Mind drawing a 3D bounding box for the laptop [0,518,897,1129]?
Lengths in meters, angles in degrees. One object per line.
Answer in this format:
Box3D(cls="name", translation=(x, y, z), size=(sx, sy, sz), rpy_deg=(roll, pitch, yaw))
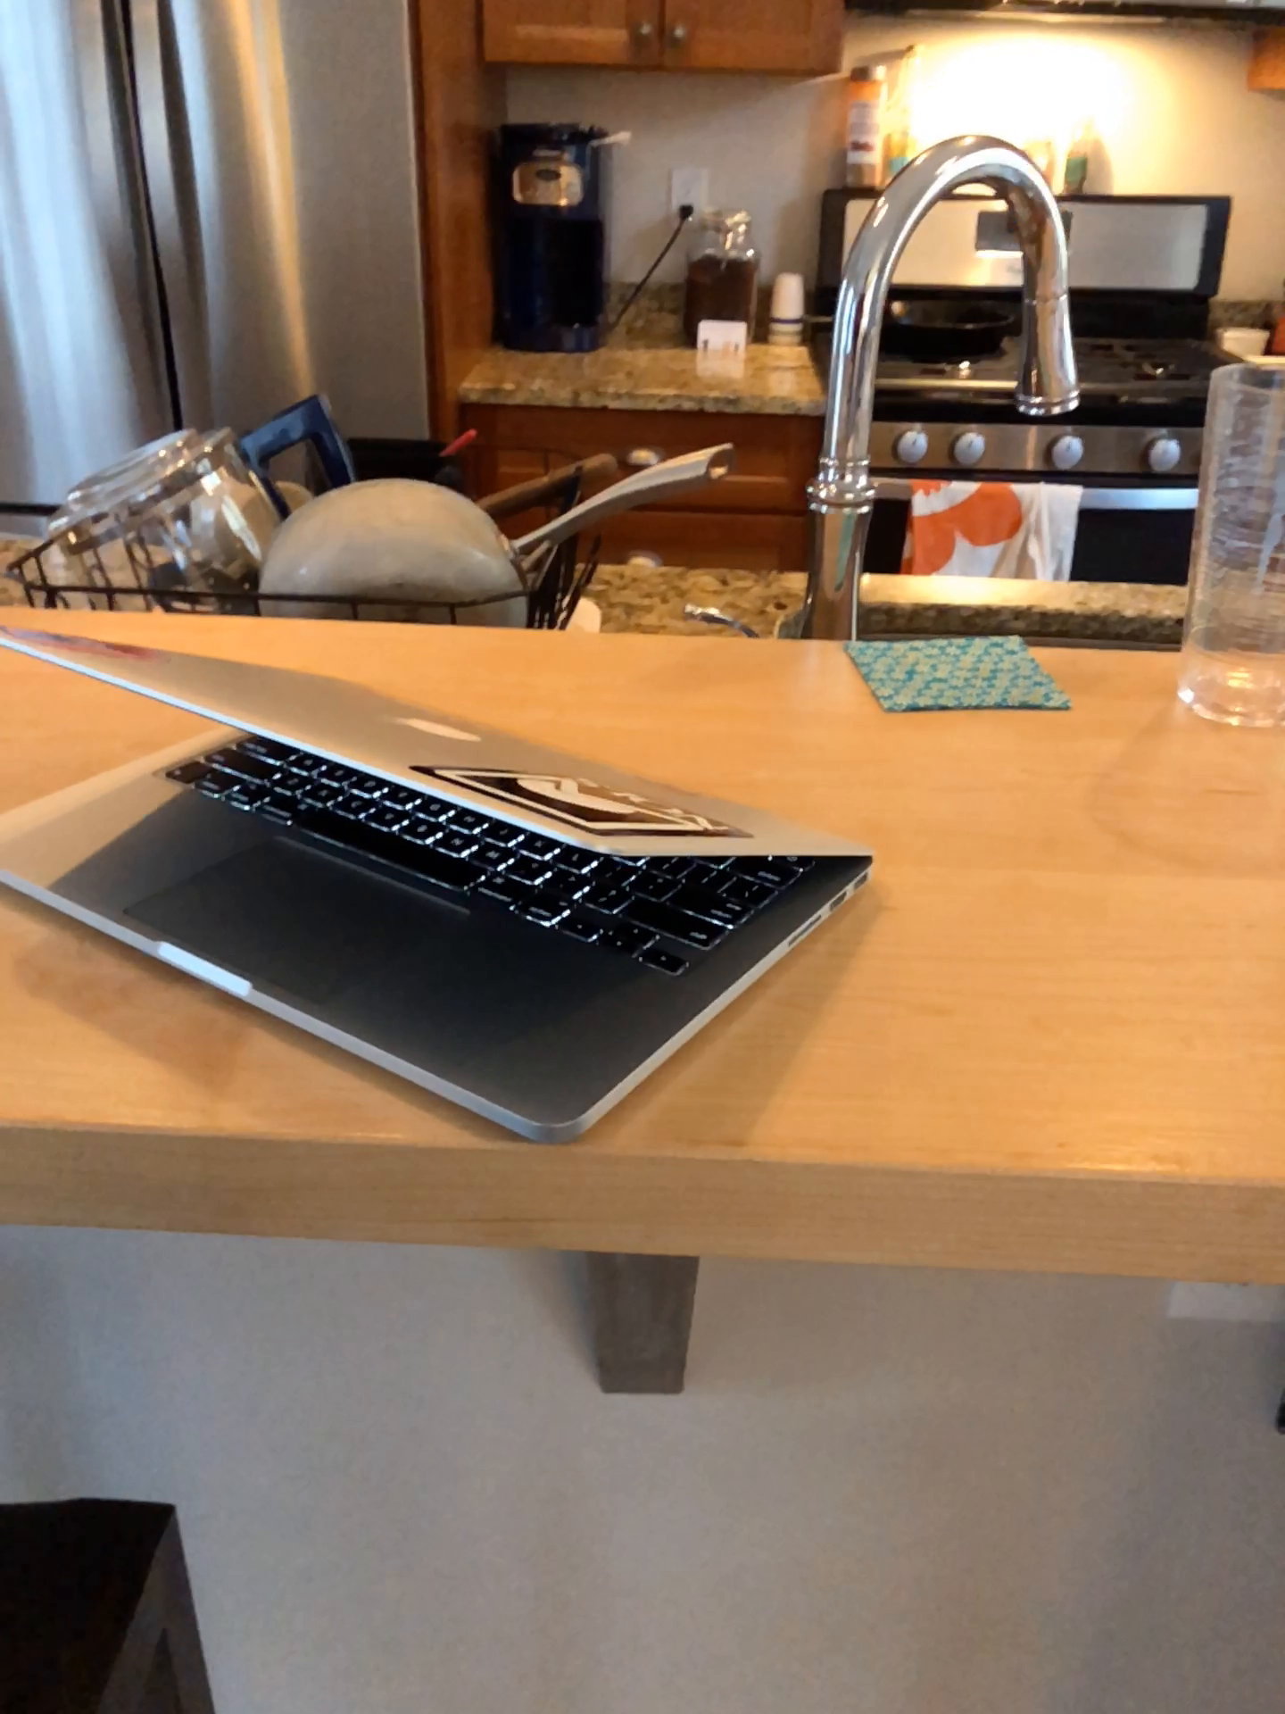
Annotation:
Box3D(cls="laptop", translation=(-0.087, -0.042, 0.550), size=(0.300, 0.084, 0.211), rpy_deg=(19, 33, 30))
